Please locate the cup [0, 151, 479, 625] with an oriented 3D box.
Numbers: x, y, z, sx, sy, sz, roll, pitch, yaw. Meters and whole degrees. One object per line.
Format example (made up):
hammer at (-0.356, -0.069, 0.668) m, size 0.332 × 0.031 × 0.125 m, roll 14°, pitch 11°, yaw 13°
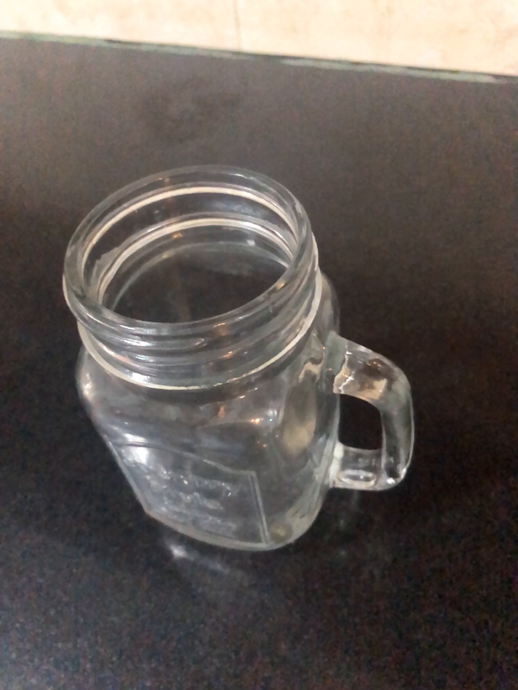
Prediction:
cup at (0.001, 0.019, 0.200) m, size 0.110 × 0.129 × 0.080 m, roll 11°, pitch 52°, yaw 16°
